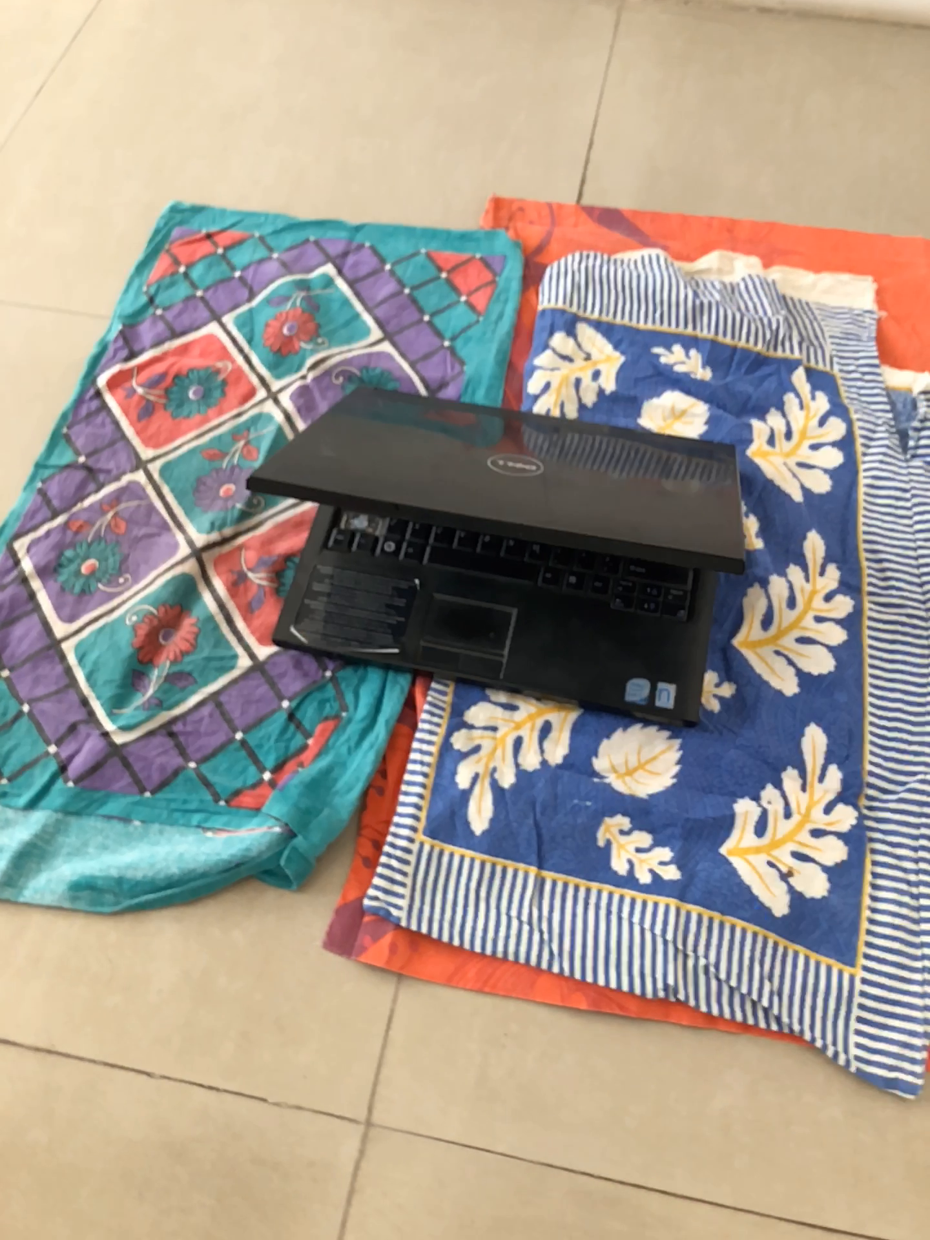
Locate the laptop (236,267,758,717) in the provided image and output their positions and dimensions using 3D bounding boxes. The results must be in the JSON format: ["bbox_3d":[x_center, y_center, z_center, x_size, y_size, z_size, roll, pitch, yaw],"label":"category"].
[{"bbox_3d":[0.033,-0.094,0.727,0.298,0.143,0.235,10,60,7],"label":"laptop"}]
